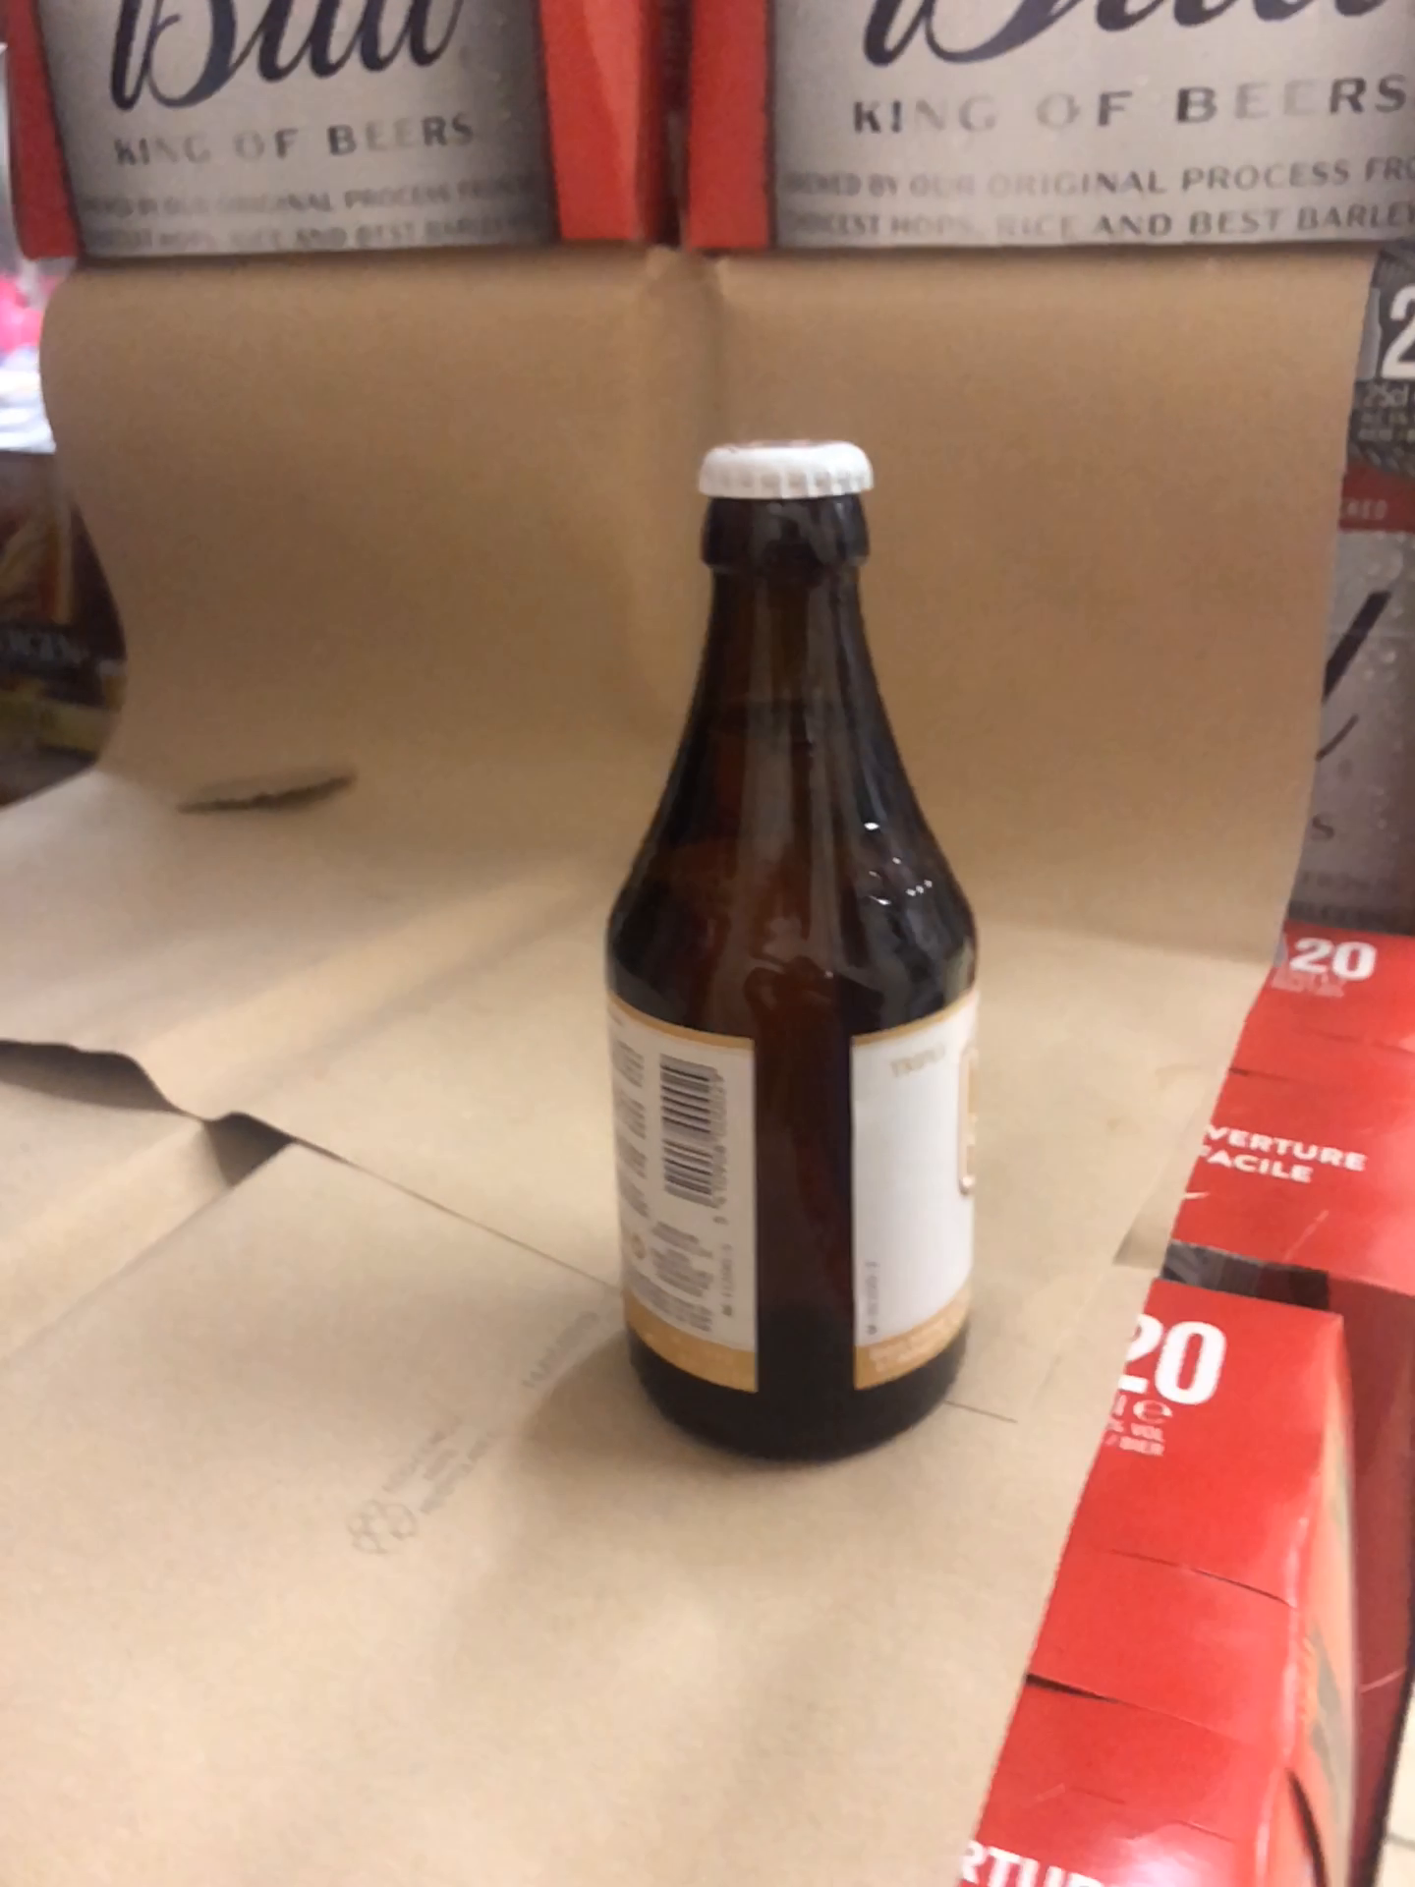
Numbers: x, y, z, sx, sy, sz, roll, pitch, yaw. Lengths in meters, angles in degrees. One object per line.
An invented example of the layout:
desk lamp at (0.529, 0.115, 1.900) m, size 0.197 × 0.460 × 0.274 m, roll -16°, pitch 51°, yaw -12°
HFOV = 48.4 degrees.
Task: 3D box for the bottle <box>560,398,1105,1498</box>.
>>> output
bottle at (0.020, -0.002, 0.272) m, size 0.070 × 0.169 × 0.080 m, roll 1°, pitch 23°, yaw 5°
